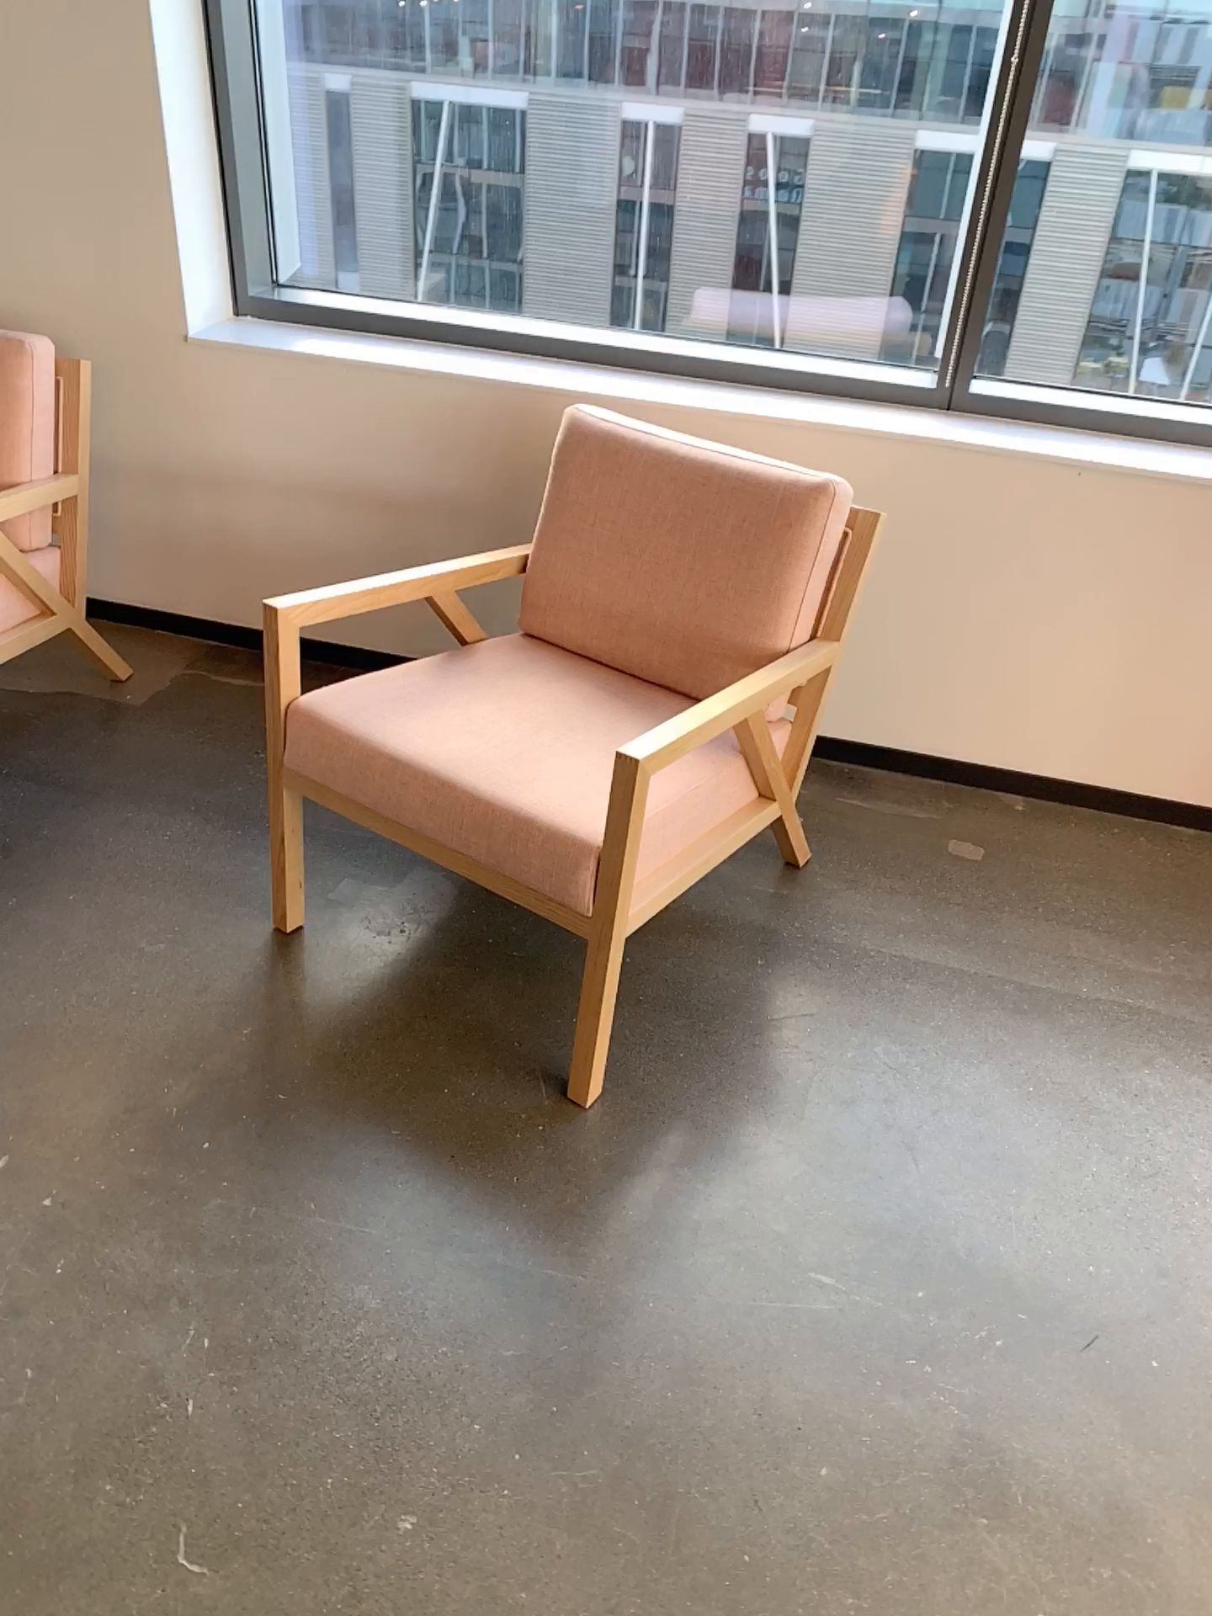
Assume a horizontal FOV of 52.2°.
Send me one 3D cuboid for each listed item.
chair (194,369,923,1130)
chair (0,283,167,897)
[{"bbox_3d":[-0.068,-0.166,2.001,0.742,0.795,0.773,24,37,27],"label":"chair"},{"bbox_3d":[-1.425,-0.450,2.325,0.741,0.795,0.774,11,35,11],"label":"chair"}]
